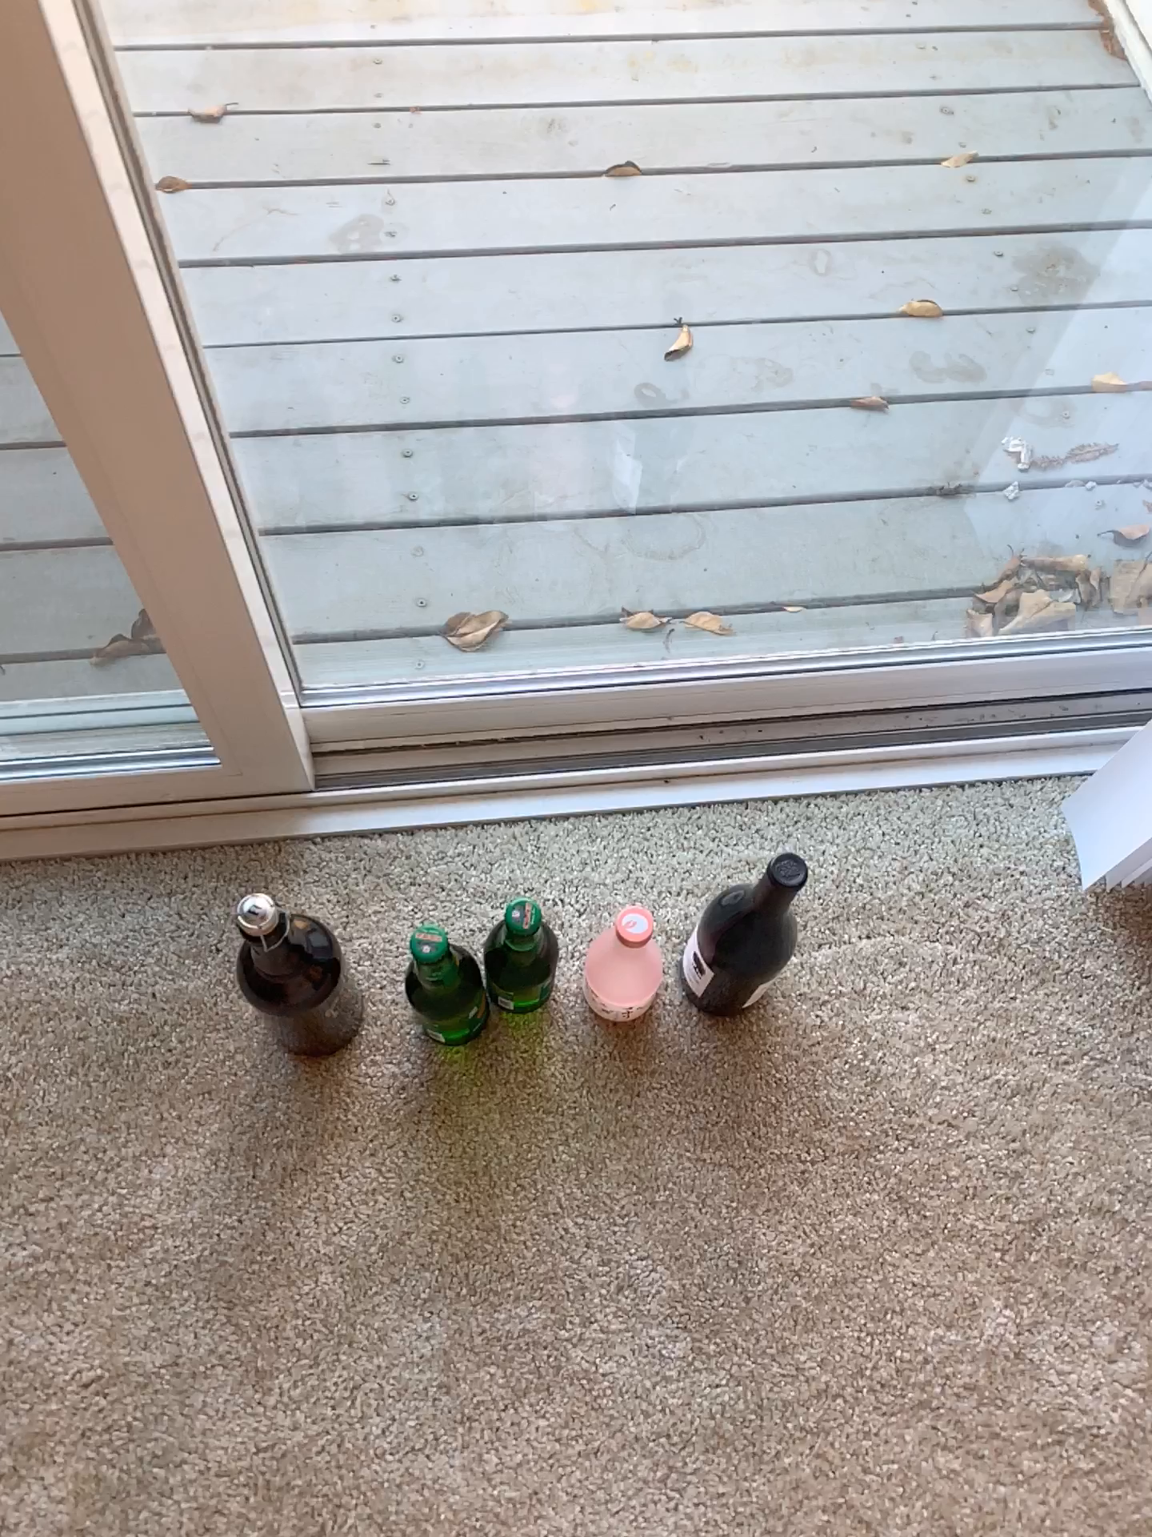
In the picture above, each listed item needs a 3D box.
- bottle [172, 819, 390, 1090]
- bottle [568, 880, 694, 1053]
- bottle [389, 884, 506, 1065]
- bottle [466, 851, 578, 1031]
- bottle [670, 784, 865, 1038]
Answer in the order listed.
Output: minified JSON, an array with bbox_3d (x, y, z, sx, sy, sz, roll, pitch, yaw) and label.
[{"bbox_3d":[-0.211,0.151,0.883,0.090,0.279,0.100,-19,67,-12],"label":"bottle"},{"bbox_3d":[0.041,0.163,0.943,0.070,0.170,0.080,13,65,3],"label":"bottle"},{"bbox_3d":[-0.098,0.168,0.927,0.070,0.190,0.080,-11,66,-9],"label":"bottle"},{"bbox_3d":[-0.046,0.144,0.941,0.070,0.190,0.080,-8,65,-8],"label":"bottle"},{"bbox_3d":[0.145,0.123,0.932,0.090,0.249,0.110,13,65,3],"label":"bottle"}]
